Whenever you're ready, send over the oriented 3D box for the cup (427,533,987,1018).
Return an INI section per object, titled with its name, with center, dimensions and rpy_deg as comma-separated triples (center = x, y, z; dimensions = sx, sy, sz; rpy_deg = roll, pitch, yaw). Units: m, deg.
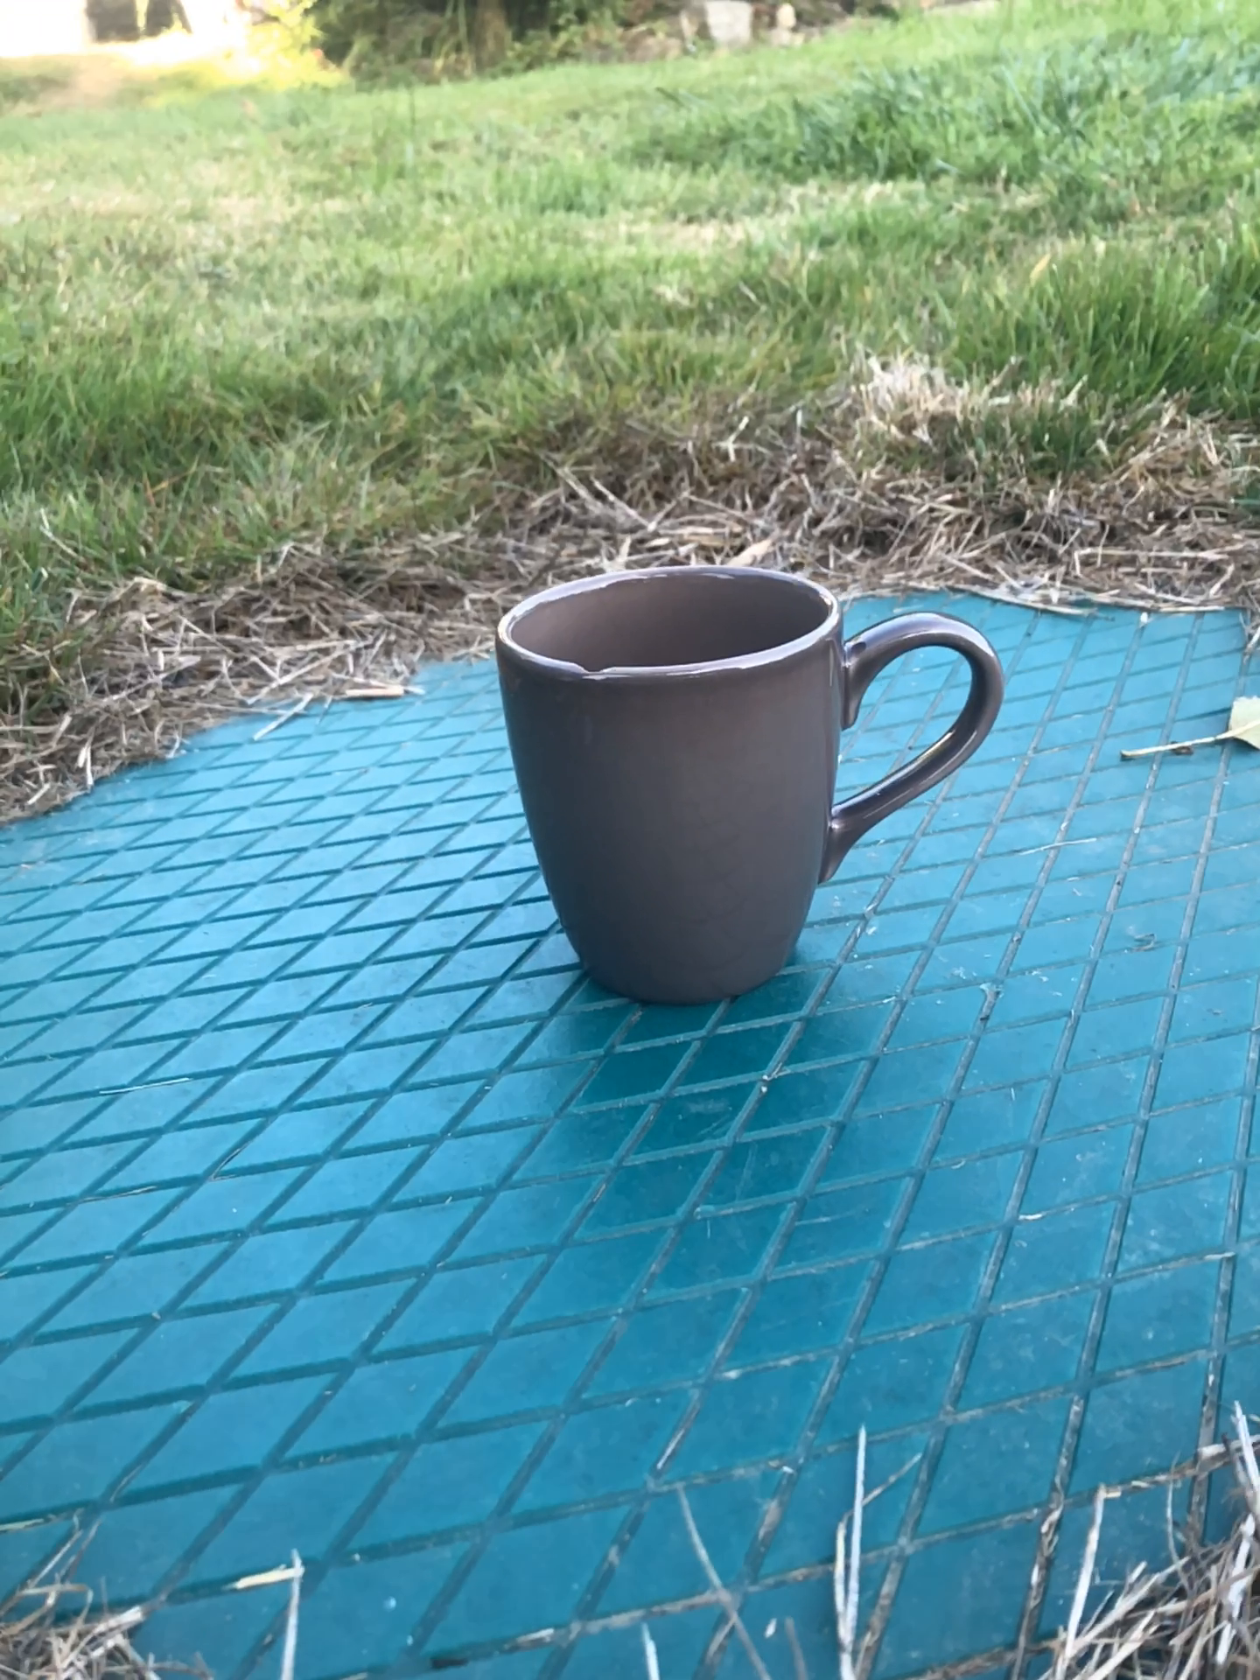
[cup]
center = 0.019, -0.021, 0.370
dimensions = 0.126, 0.086, 0.091
rpy_deg = -7, 26, -1
